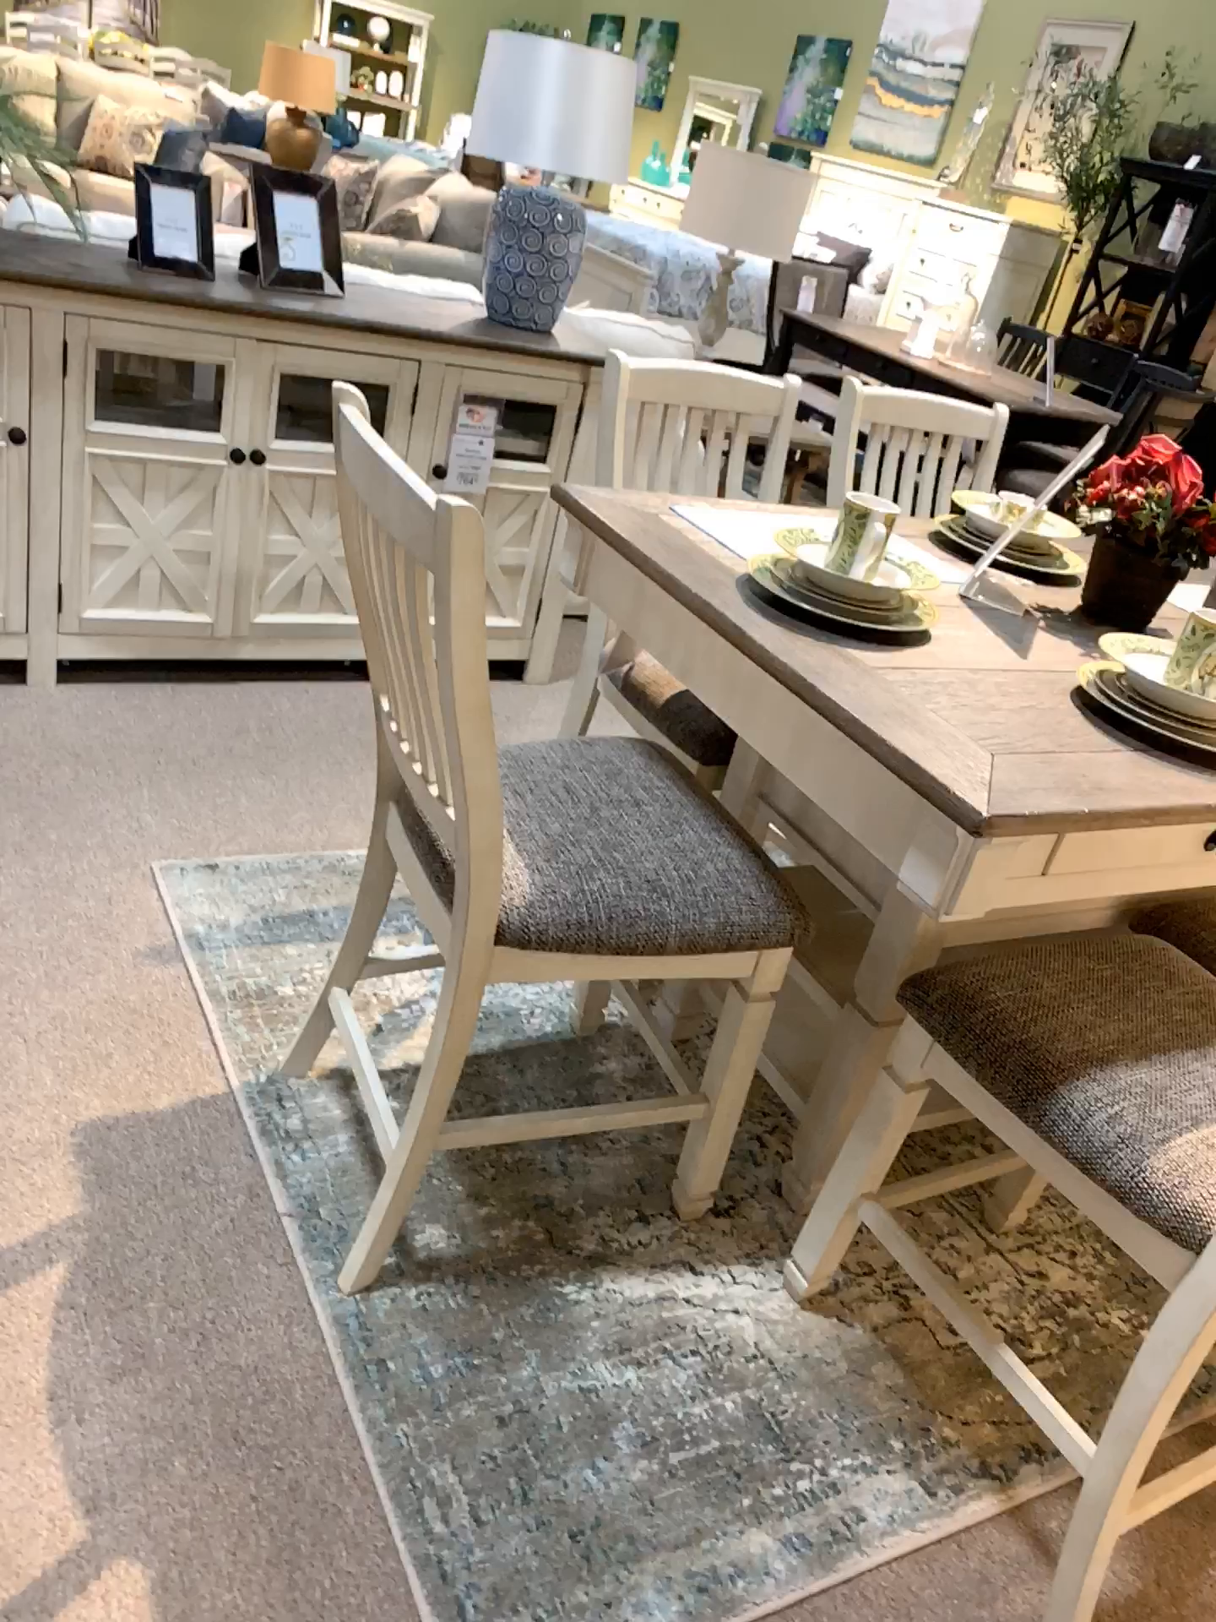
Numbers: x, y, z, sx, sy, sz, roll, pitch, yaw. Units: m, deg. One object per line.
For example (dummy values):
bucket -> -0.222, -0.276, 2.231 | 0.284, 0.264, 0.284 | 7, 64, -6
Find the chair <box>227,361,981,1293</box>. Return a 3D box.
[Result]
chair -> -0.085, 0.023, 1.532 | 0.590, 0.925, 0.492 | -1, 32, -28
